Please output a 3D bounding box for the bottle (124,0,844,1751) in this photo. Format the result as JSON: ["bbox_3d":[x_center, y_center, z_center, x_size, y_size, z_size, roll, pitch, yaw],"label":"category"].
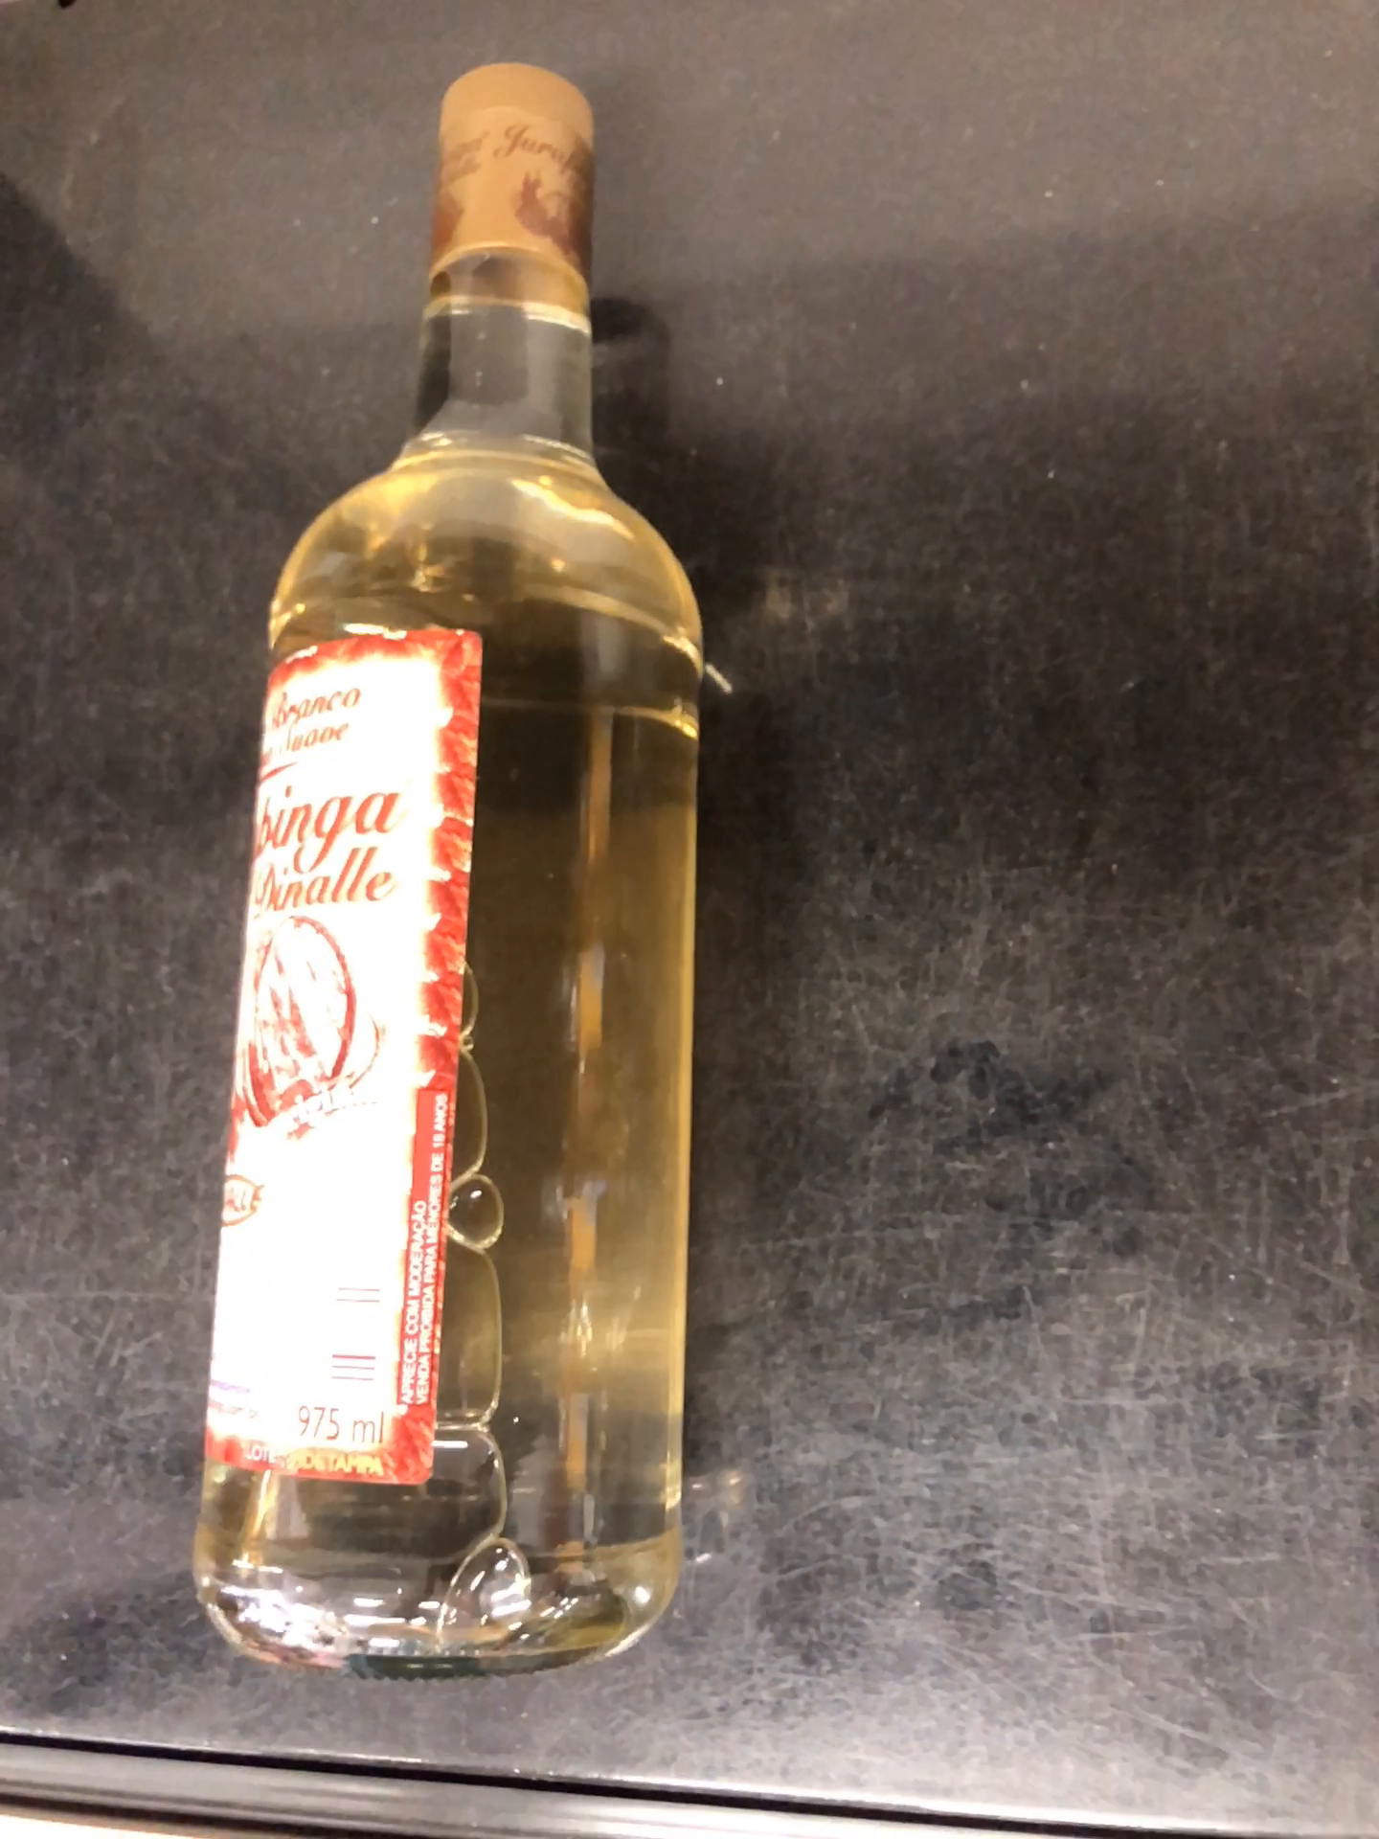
[{"bbox_3d":[-0.036,-0.028,0.284,0.100,0.080,0.300,5,79,-22],"label":"bottle"}]
